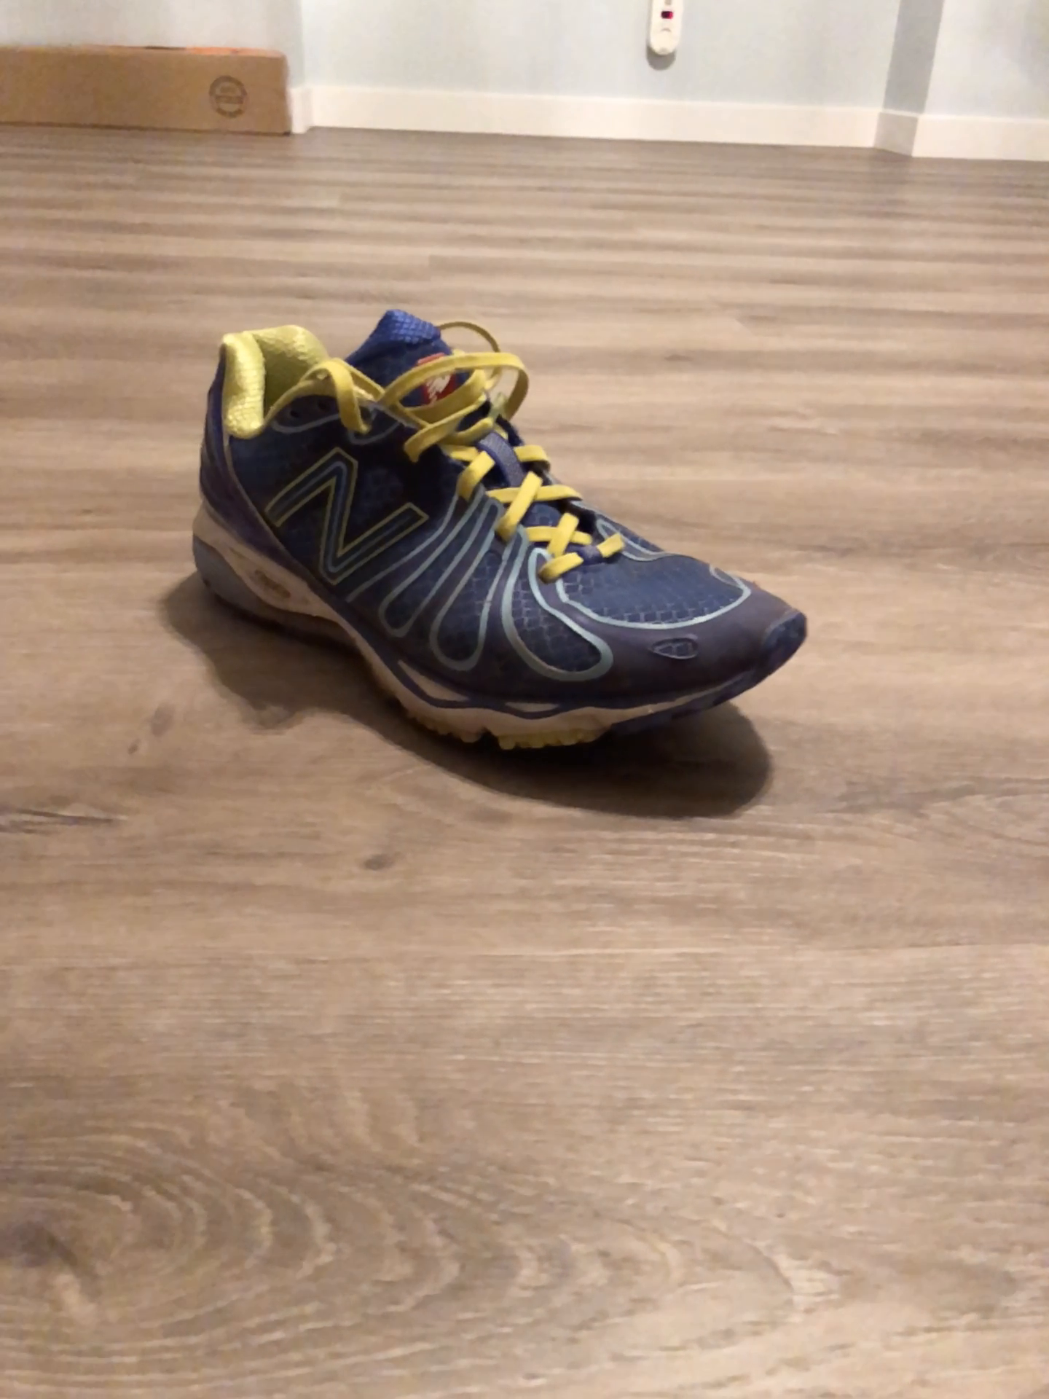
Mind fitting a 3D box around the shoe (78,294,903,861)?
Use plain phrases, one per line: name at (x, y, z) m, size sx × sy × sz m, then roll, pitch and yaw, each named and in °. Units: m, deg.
shoe at (-0.023, -0.061, 0.393) m, size 0.250 × 0.099 × 0.110 m, roll 23°, pitch 34°, yaw 32°
